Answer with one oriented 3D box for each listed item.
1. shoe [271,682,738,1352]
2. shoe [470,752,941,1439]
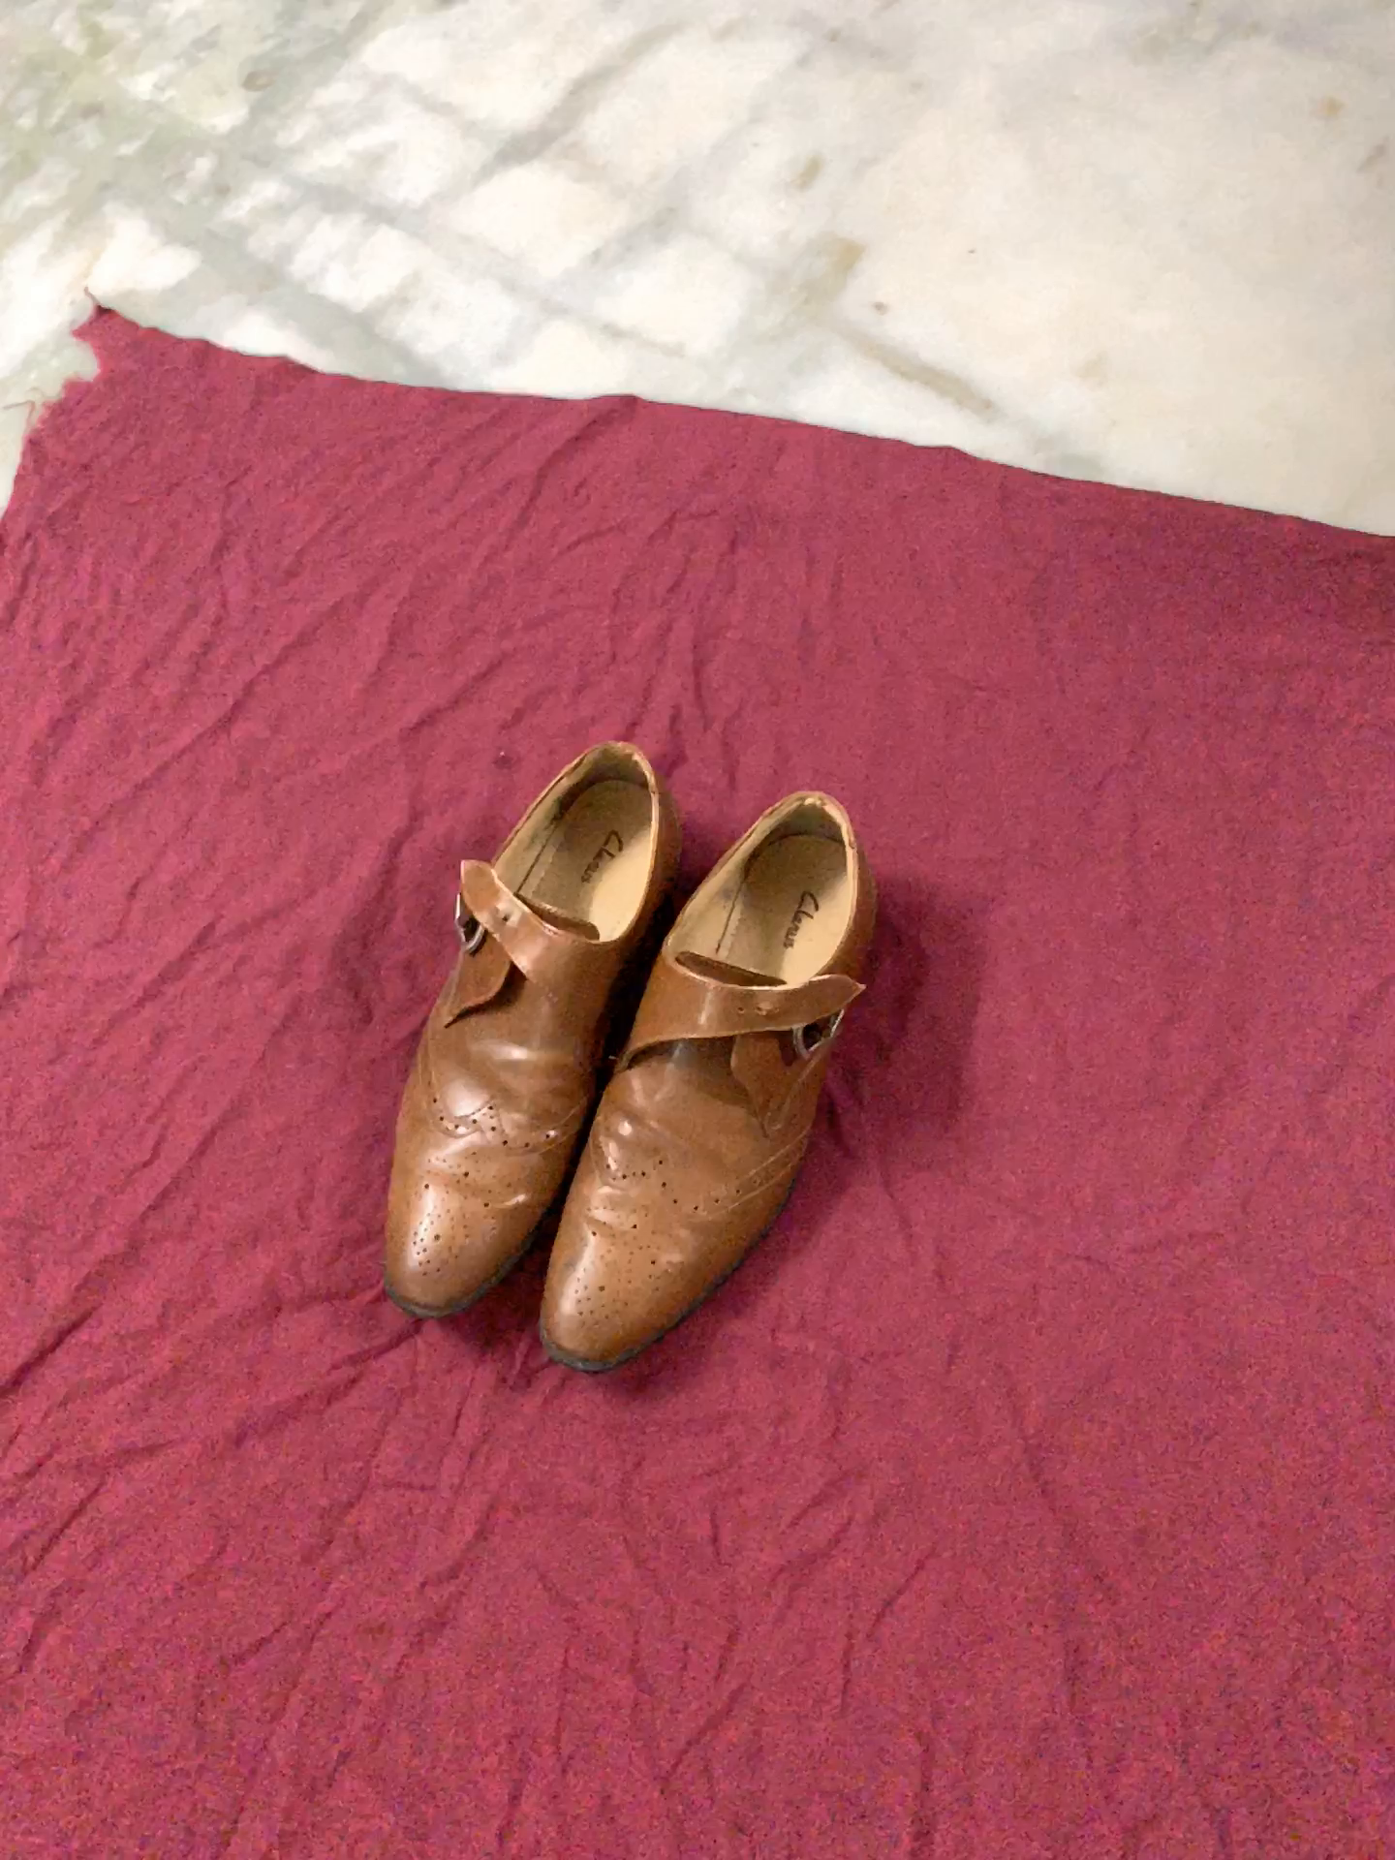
[{"bbox_3d":[-0.079,0.035,0.700,0.100,0.090,0.301,18,66,11],"label":"shoe"},{"bbox_3d":[0.014,0.074,0.704,0.100,0.090,0.311,21,66,12],"label":"shoe"}]
